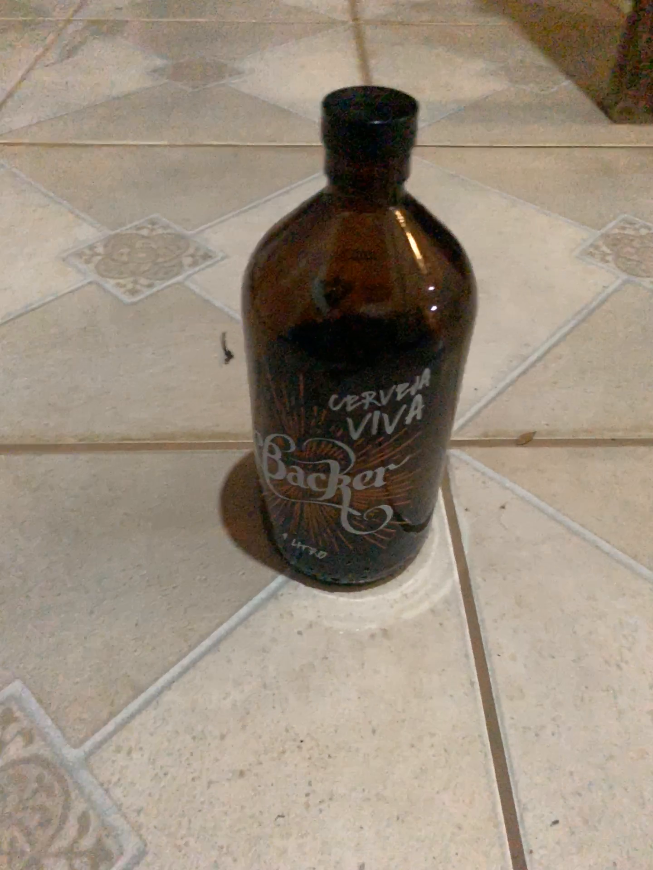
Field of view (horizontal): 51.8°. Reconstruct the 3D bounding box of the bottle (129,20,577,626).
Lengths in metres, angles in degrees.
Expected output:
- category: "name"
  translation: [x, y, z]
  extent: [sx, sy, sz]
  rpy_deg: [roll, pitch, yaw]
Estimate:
- category: "bottle"
  translation: [0.011, -0.031, 0.274]
  extent: [0.100, 0.209, 0.090]
  rpy_deg: [24, 52, 22]
